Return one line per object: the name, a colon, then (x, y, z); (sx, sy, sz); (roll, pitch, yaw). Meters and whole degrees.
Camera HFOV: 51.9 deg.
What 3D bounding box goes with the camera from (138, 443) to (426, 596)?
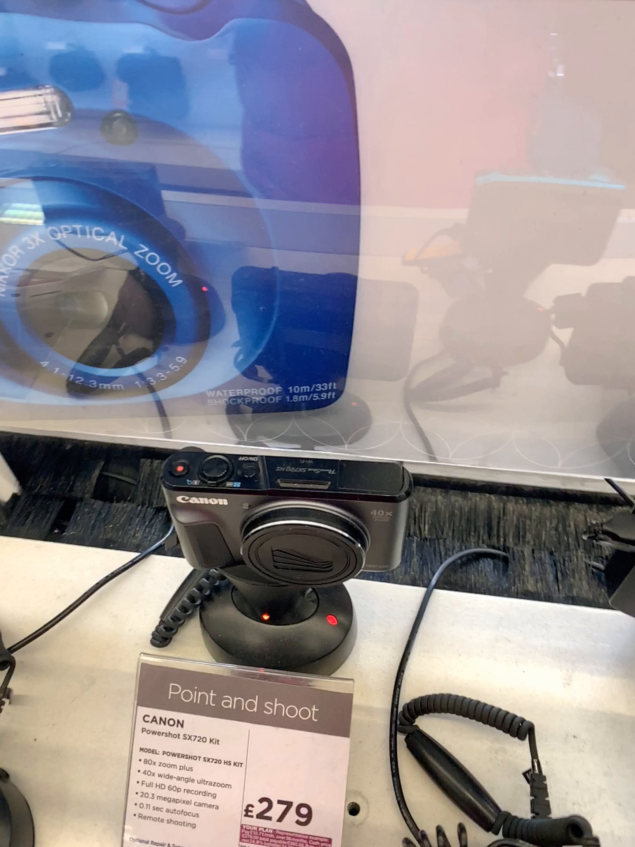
camera: (-0.013, 0.043, 0.286); (0.113, 0.061, 0.031); (3, 49, 4)
